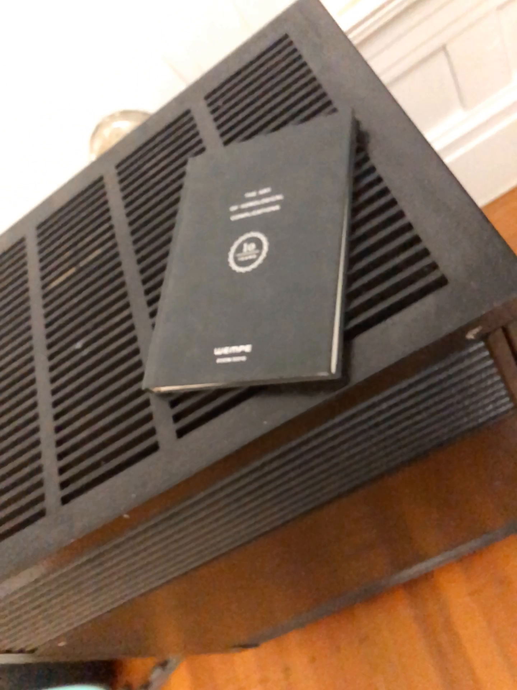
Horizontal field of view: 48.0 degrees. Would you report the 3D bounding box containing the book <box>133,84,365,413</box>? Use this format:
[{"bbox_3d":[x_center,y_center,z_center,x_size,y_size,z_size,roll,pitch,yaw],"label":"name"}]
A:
[{"bbox_3d":[-0.004,-0.074,0.445,0.160,0.020,0.251,-7,63,31],"label":"book"}]
